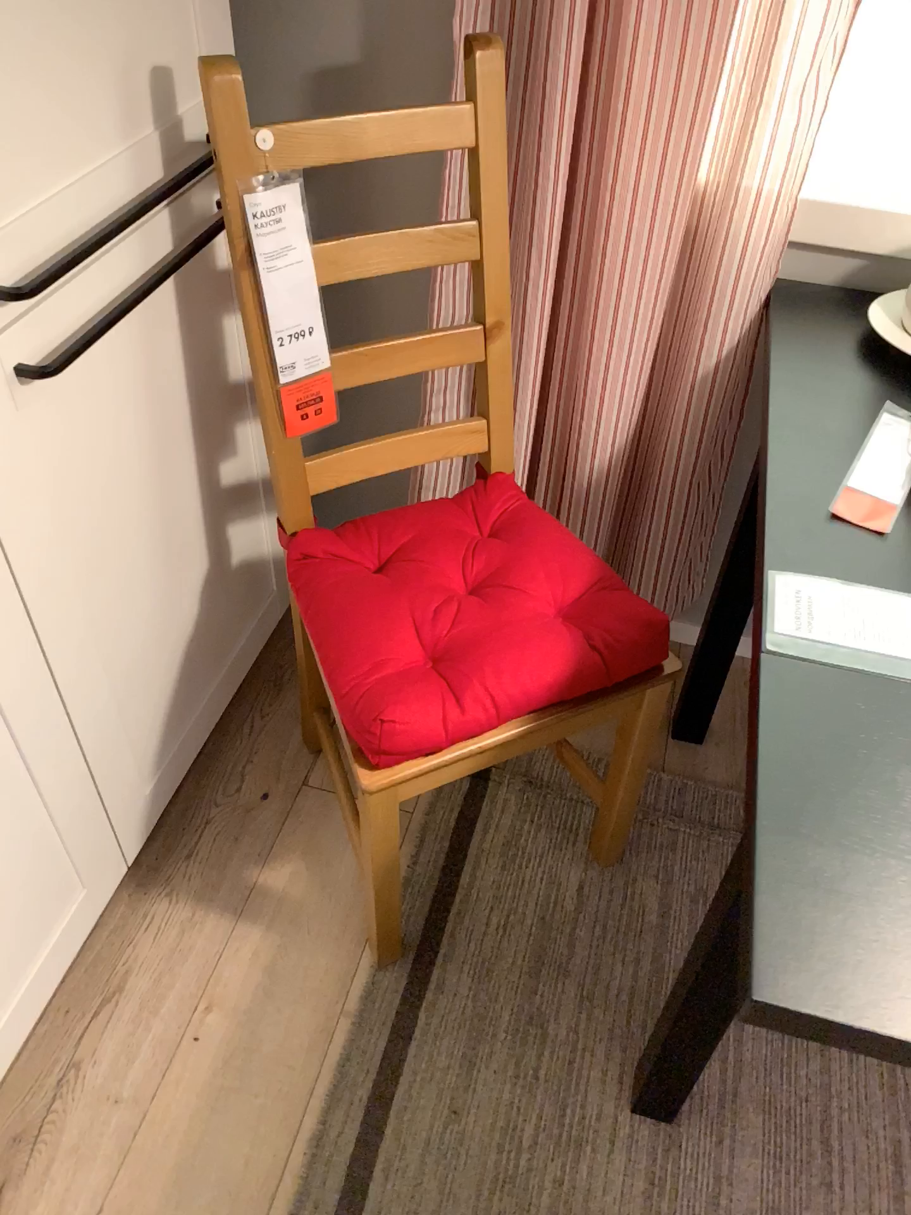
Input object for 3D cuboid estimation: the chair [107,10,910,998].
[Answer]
[{"bbox_3d":[-0.008,-0.085,1.190,0.501,1.015,0.582,-19,49,-22],"label":"chair"}]
